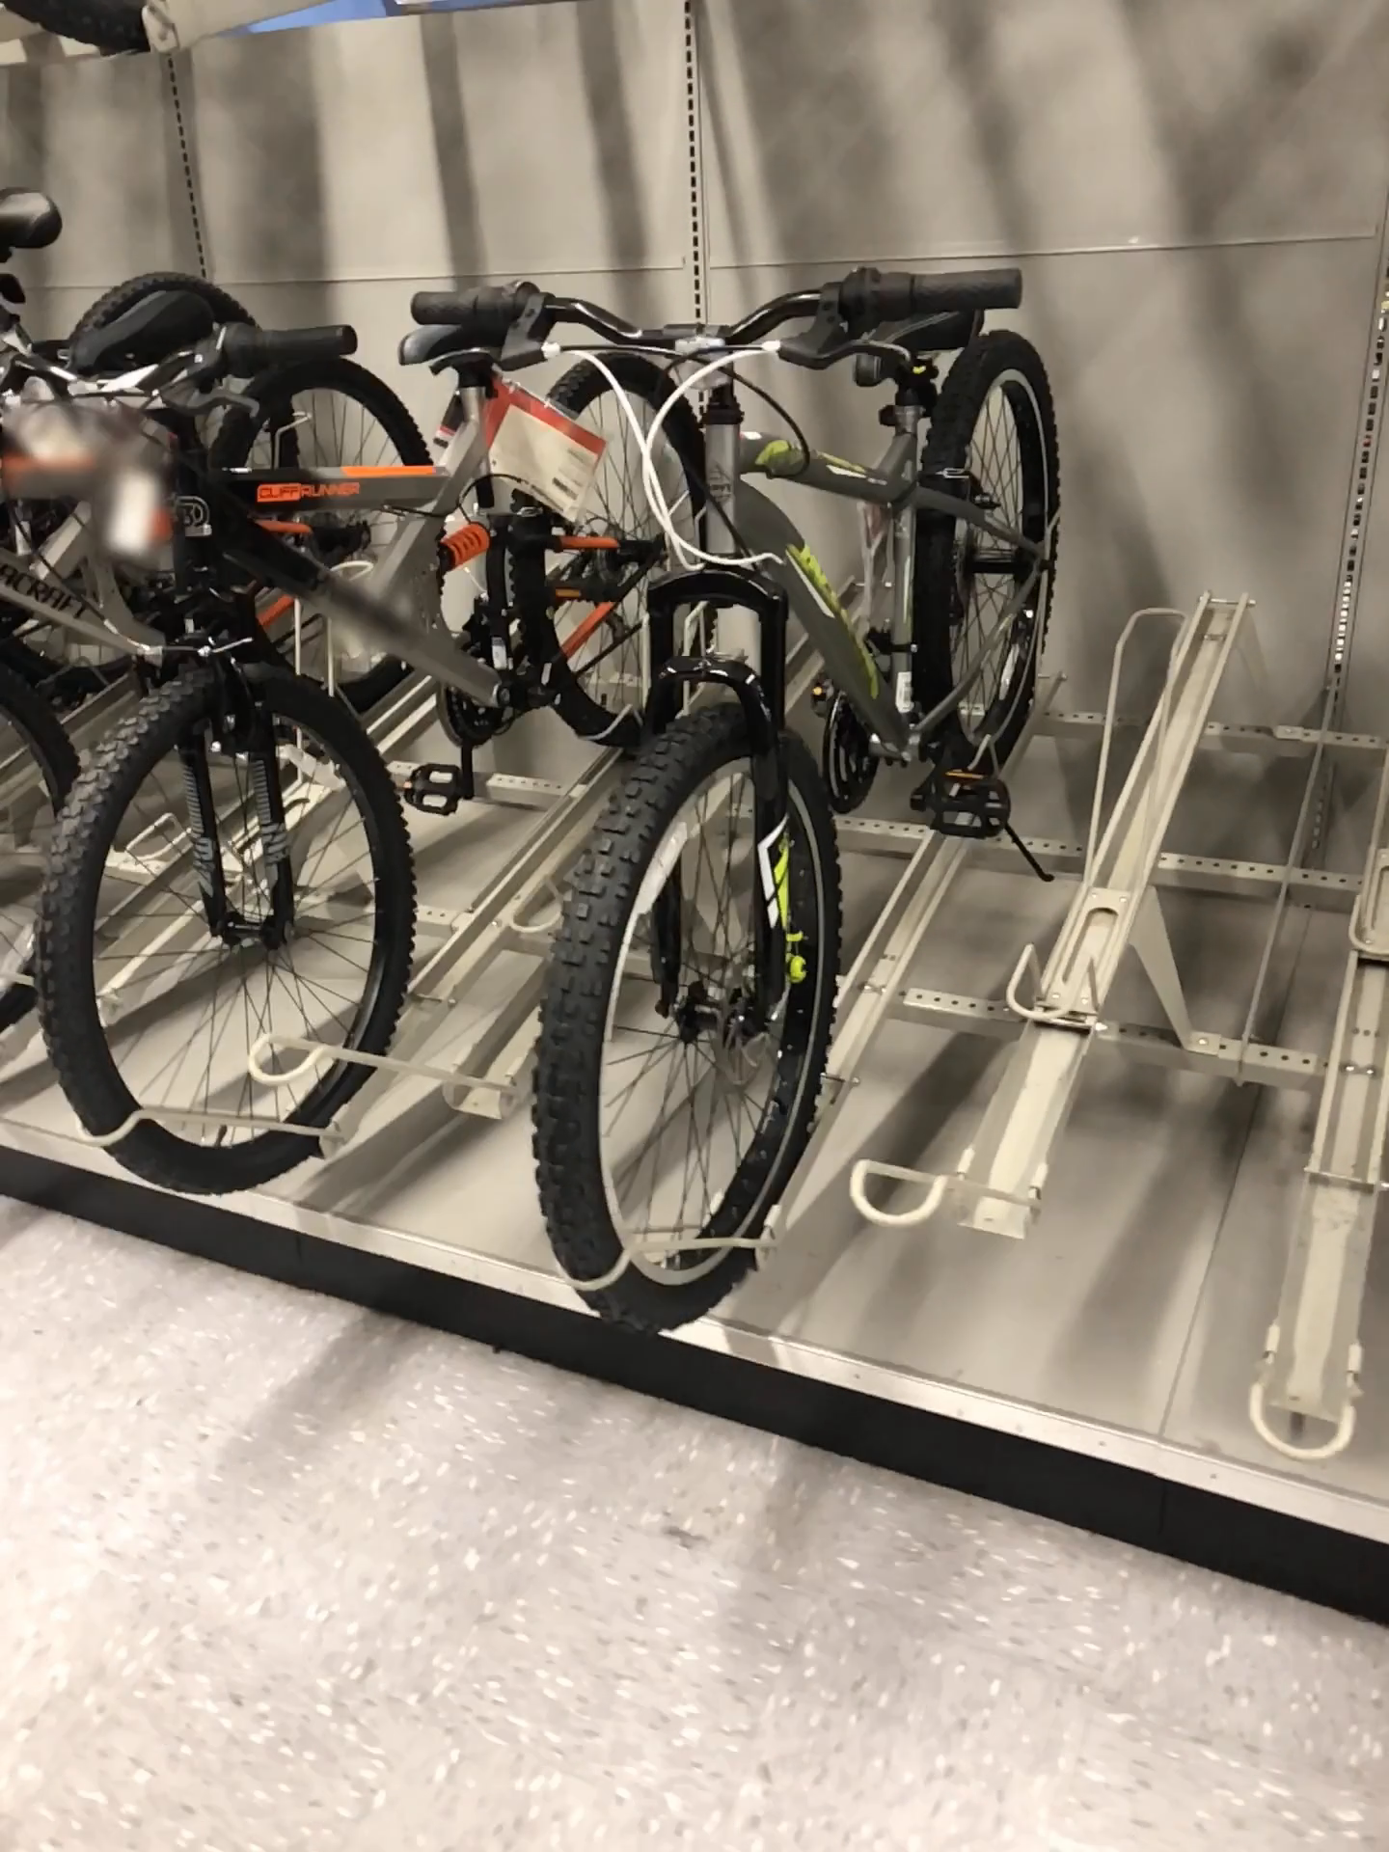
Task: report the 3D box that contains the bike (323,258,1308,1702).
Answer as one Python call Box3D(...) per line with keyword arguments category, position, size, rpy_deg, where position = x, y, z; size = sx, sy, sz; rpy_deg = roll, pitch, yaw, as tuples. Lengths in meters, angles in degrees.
Box3D(category="bike", position=(0.308, -0.202, 1.961), size=(0.608, 0.728, 1.724), rpy_deg=(9, 38, 26))
